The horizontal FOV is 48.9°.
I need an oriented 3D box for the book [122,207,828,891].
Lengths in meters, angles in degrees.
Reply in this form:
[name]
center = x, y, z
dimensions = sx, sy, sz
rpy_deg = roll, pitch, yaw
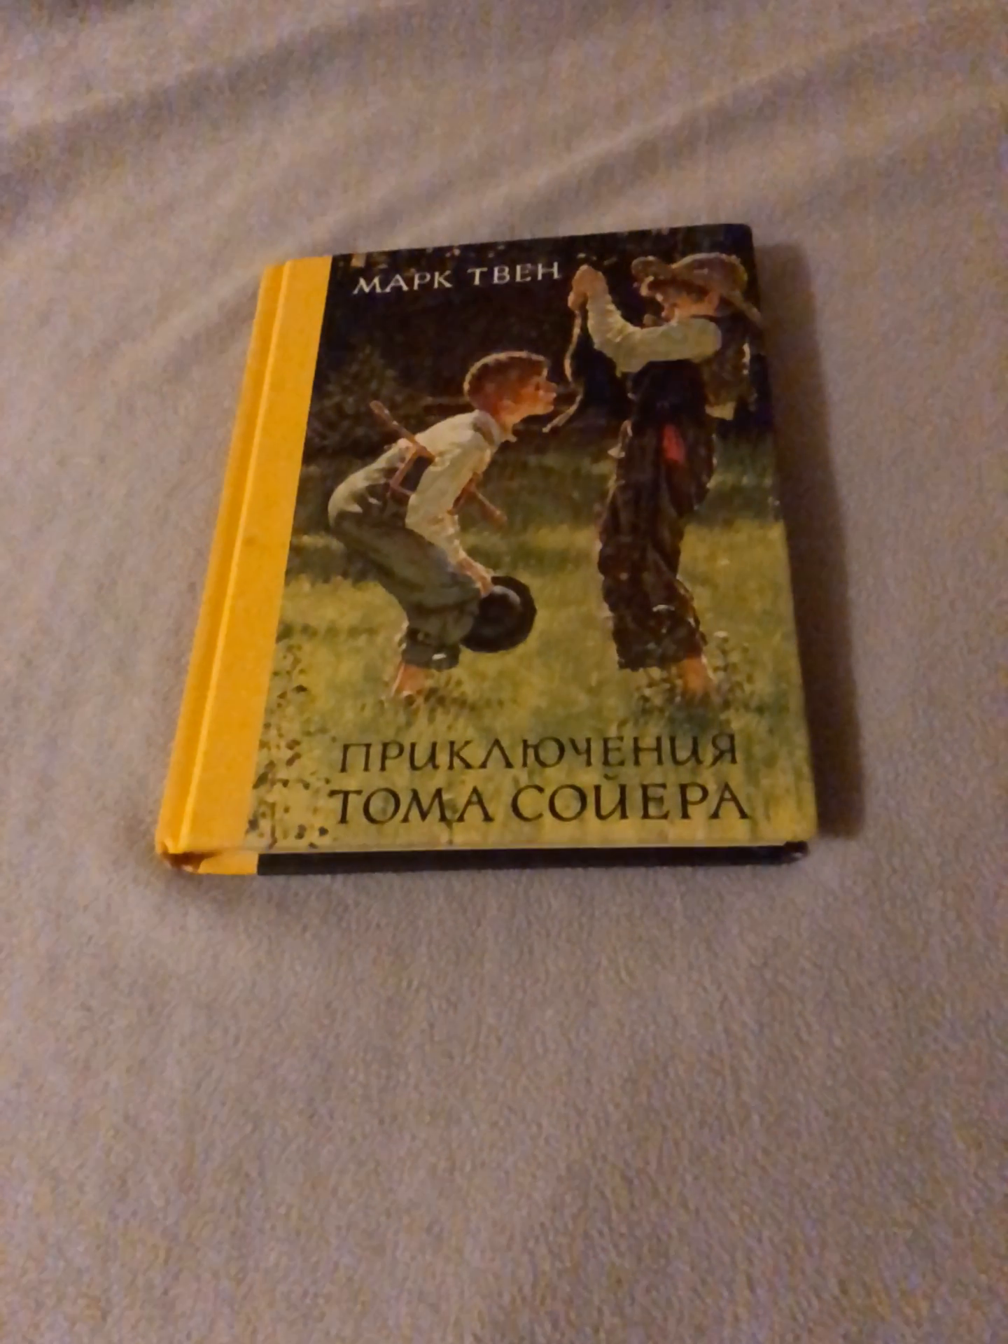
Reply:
[book]
center = -0.005, -0.048, 0.335
dimensions = 0.171, 0.030, 0.225
rpy_deg = -2, 60, 7
